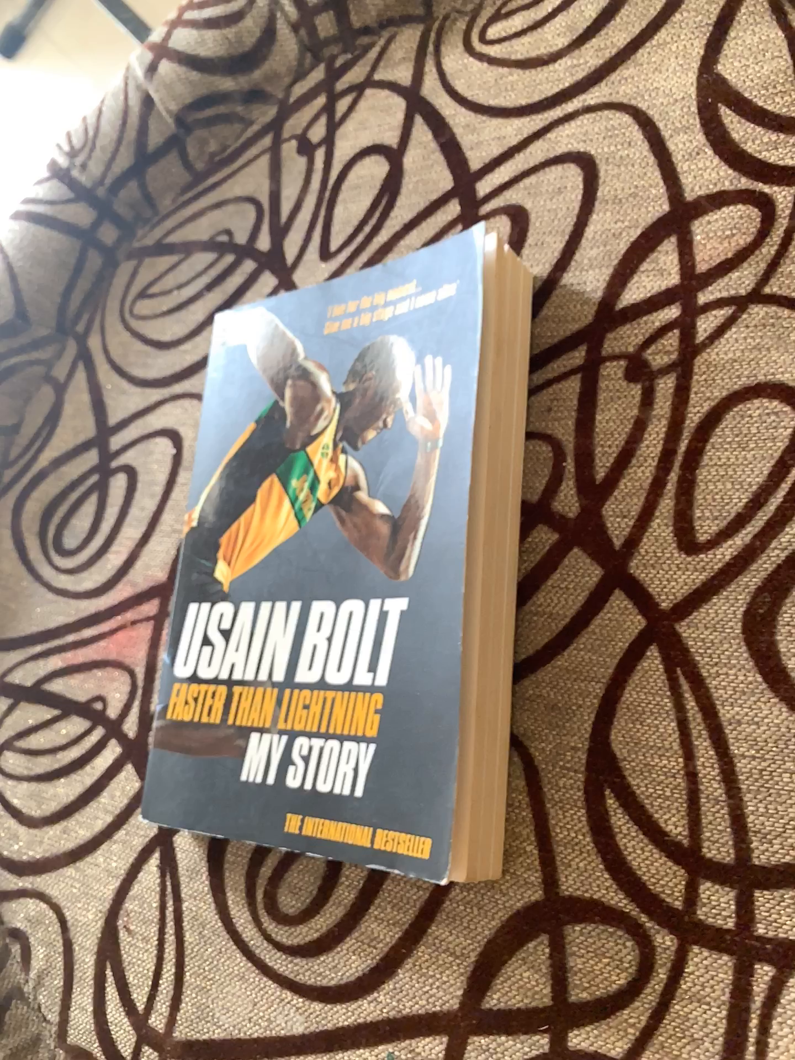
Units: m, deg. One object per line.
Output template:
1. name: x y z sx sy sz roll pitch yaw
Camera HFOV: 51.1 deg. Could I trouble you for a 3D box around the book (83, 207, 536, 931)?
1. book: -0.030 0.008 0.276 0.140 0.030 0.200 -4 73 35
